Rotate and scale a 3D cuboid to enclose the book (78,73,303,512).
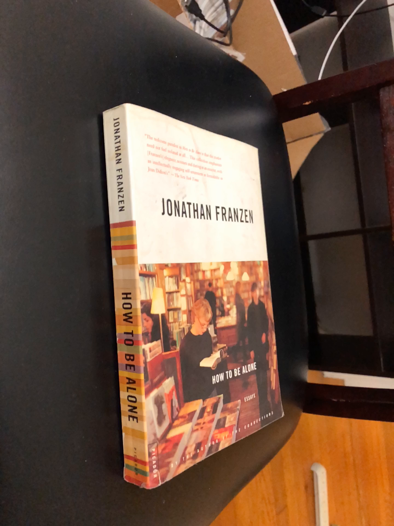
[{"bbox_3d":[0.006,0.013,0.302,0.161,0.040,0.230,-1,87,-47],"label":"book"}]
